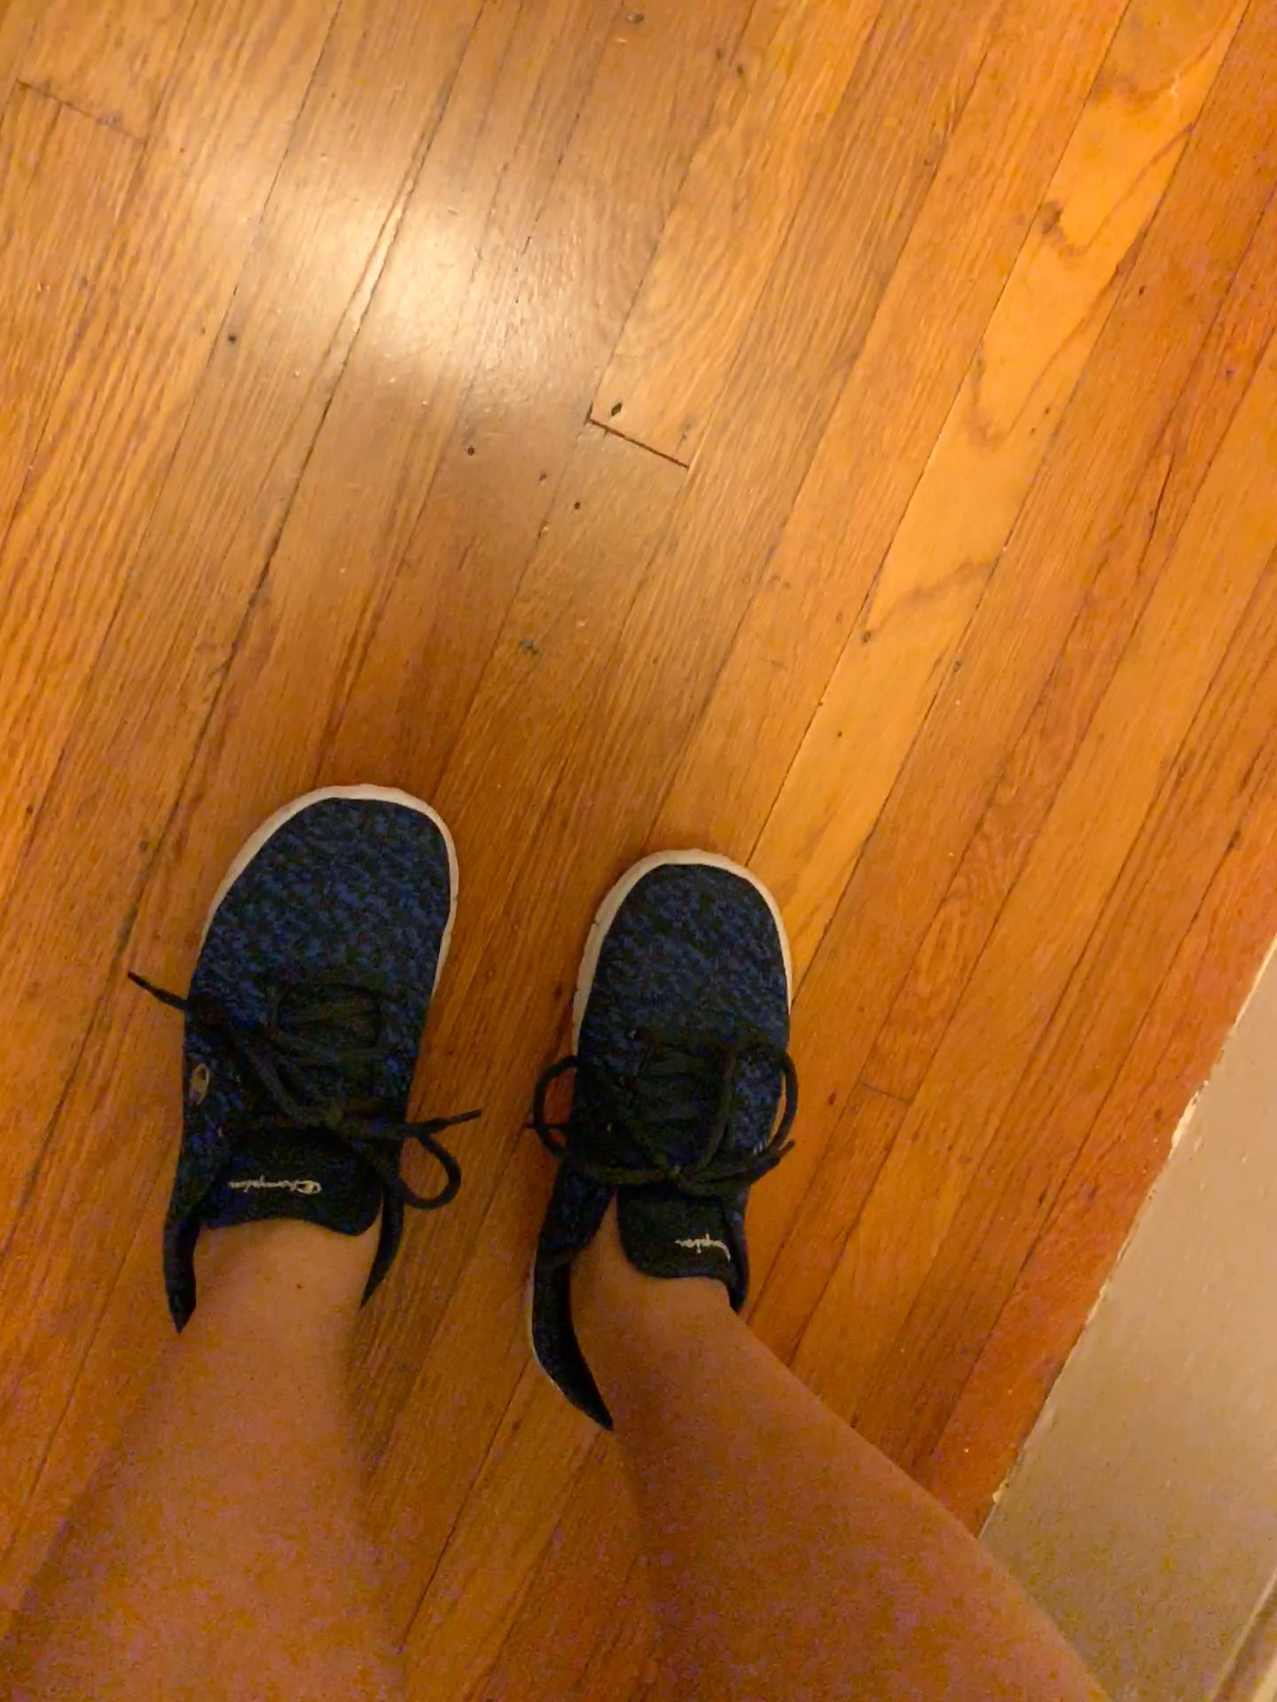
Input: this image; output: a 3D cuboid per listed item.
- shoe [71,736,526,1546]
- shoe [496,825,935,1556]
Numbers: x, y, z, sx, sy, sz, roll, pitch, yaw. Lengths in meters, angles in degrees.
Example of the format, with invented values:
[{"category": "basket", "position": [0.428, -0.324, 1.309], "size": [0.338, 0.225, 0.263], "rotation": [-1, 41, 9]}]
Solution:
[{"category": "shoe", "position": [-0.142, 0.113, 0.559], "size": [0.115, 0.150, 0.290], "rotation": [11, 99, -12]}, {"category": "shoe", "position": [0.022, 0.145, 0.587], "size": [0.117, 0.130, 0.280], "rotation": [9, 100, -12]}]
